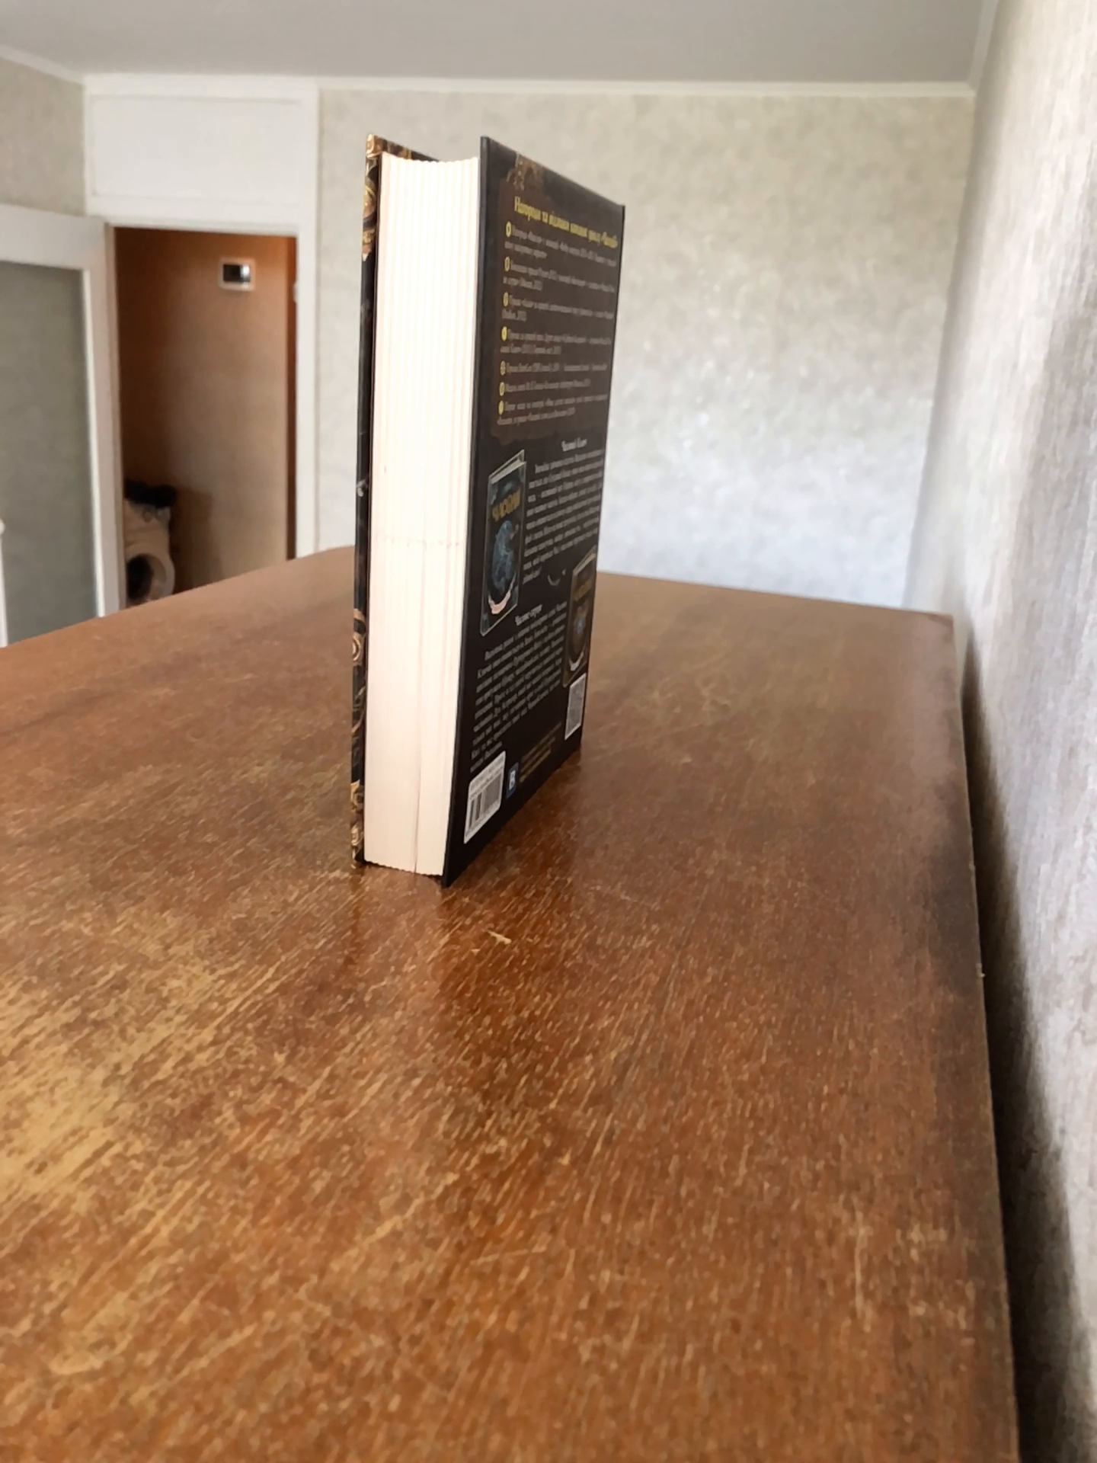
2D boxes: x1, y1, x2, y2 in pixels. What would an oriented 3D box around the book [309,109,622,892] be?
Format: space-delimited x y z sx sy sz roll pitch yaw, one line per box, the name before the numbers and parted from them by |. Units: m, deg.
book | -0.025 -0.083 0.439 0.041 0.228 0.167 10 18 16
